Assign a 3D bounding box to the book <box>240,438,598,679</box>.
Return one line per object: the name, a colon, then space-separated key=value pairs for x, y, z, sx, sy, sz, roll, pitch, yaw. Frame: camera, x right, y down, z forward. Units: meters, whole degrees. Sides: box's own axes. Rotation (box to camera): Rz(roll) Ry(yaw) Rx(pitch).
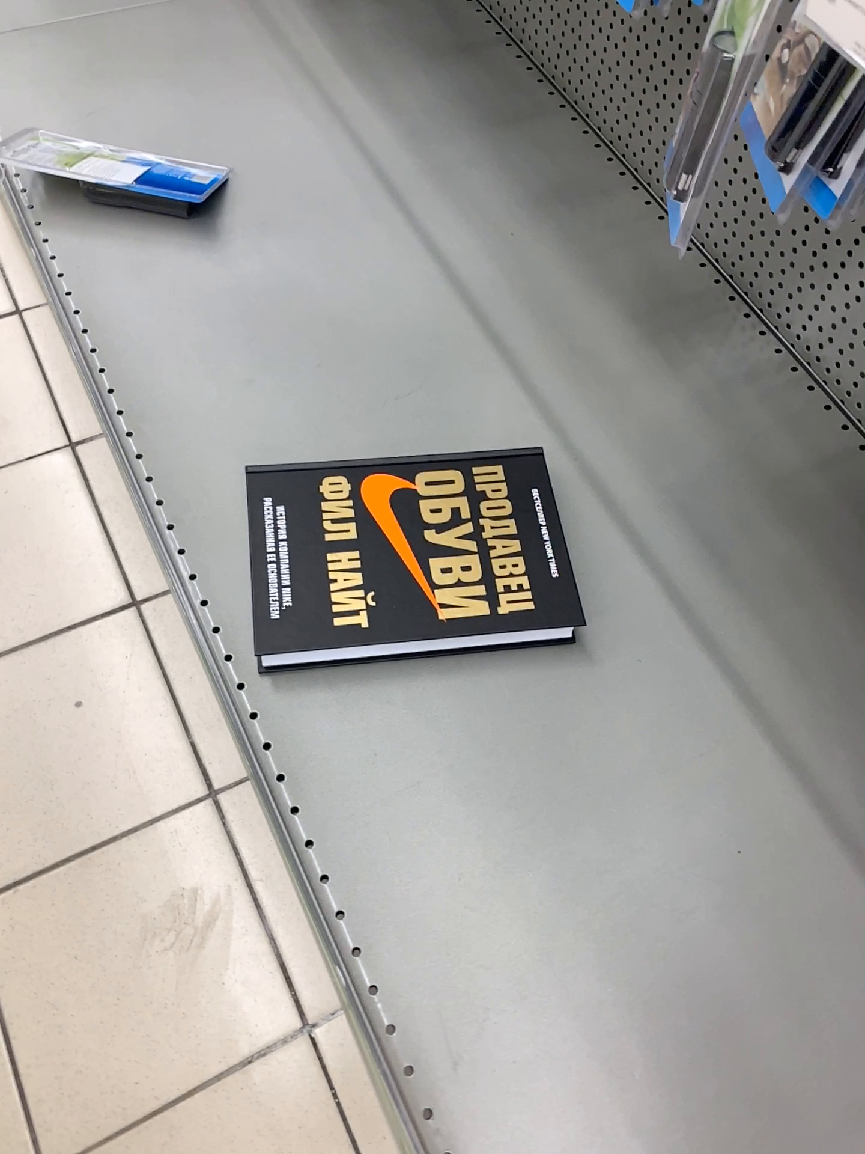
book: x=-0.017 y=-0.020 z=0.681 sx=0.250 sy=0.042 sz=0.170 roll=-4 pitch=61 yaw=-8
